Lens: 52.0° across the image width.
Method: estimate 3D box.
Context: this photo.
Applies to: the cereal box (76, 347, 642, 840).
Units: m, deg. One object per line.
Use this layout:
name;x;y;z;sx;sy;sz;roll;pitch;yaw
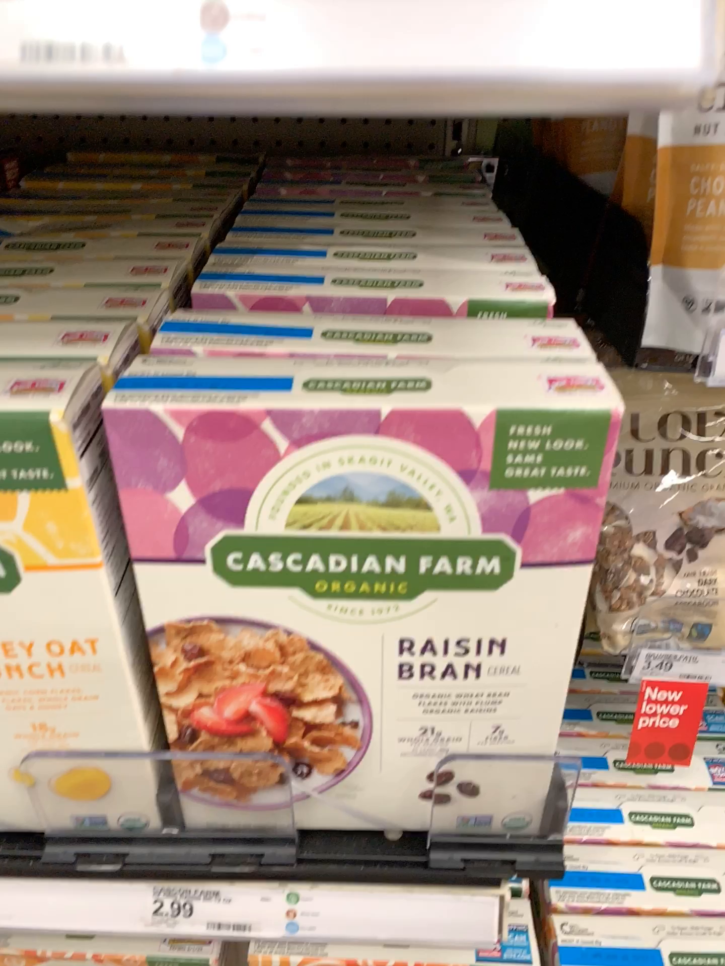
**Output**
cereal box;-0.003;0.071;0.358;0.200;0.269;0.050;1;34;0
